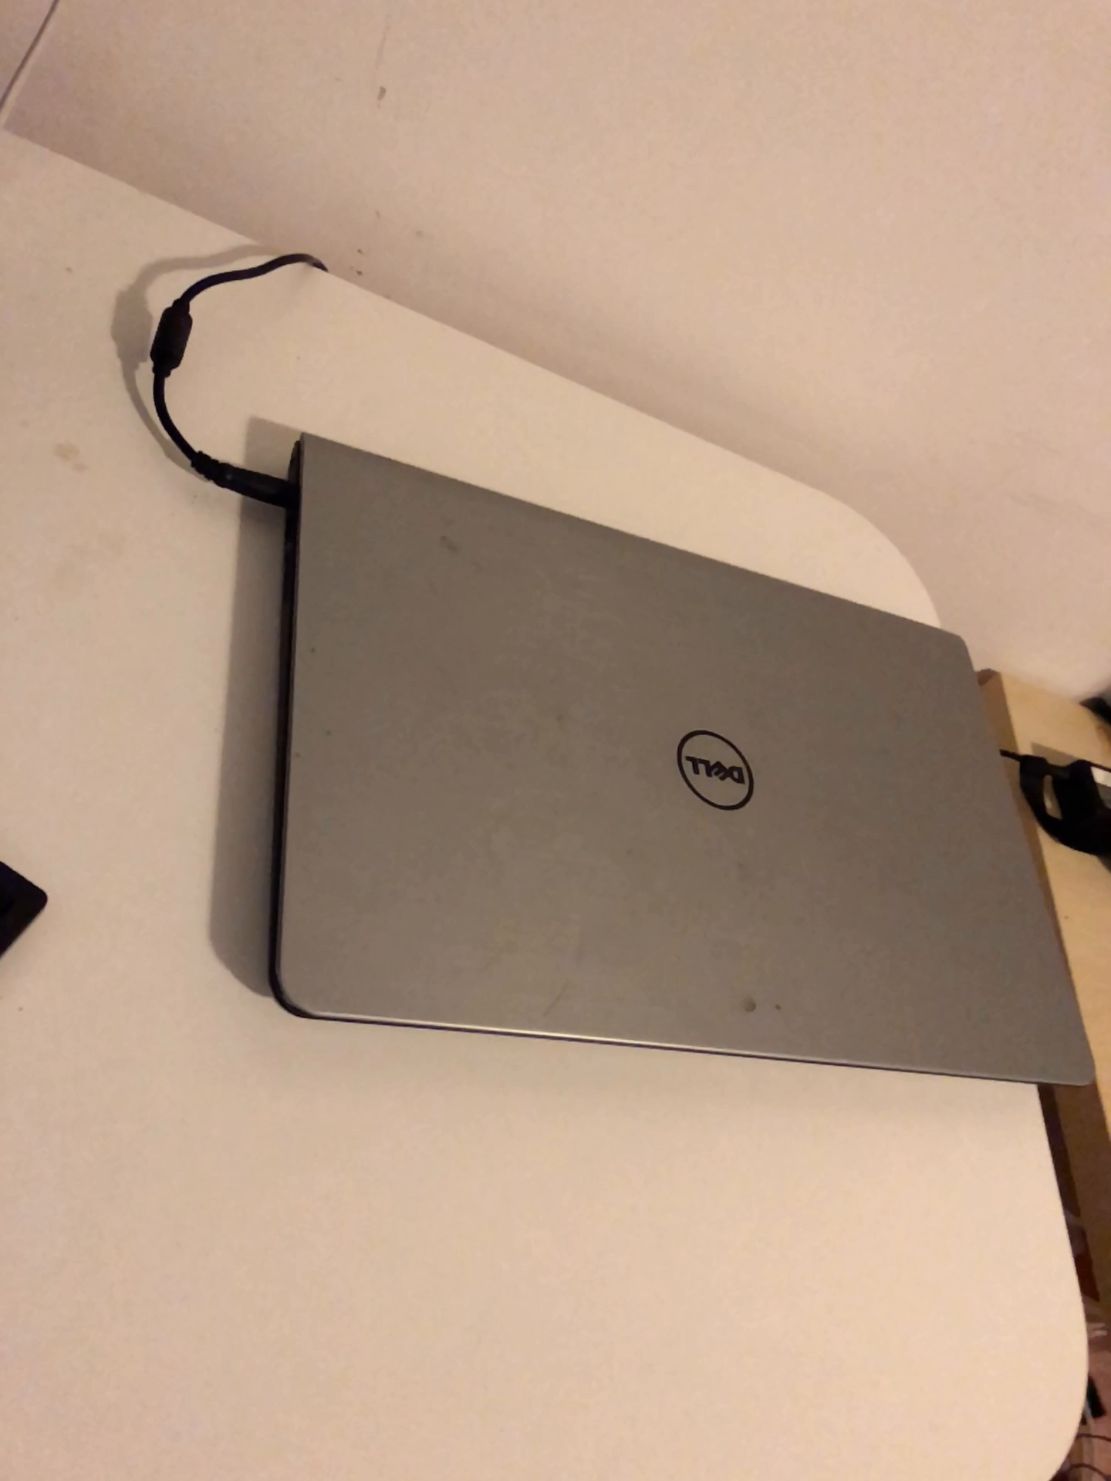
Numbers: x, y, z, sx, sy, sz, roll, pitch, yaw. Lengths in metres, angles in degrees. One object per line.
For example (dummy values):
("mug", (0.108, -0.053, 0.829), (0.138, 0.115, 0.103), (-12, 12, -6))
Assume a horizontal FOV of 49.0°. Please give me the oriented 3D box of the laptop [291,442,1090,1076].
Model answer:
("laptop", (0.069, 0.012, 0.541), (0.372, 0.001, 0.247), (12, 55, -25))
